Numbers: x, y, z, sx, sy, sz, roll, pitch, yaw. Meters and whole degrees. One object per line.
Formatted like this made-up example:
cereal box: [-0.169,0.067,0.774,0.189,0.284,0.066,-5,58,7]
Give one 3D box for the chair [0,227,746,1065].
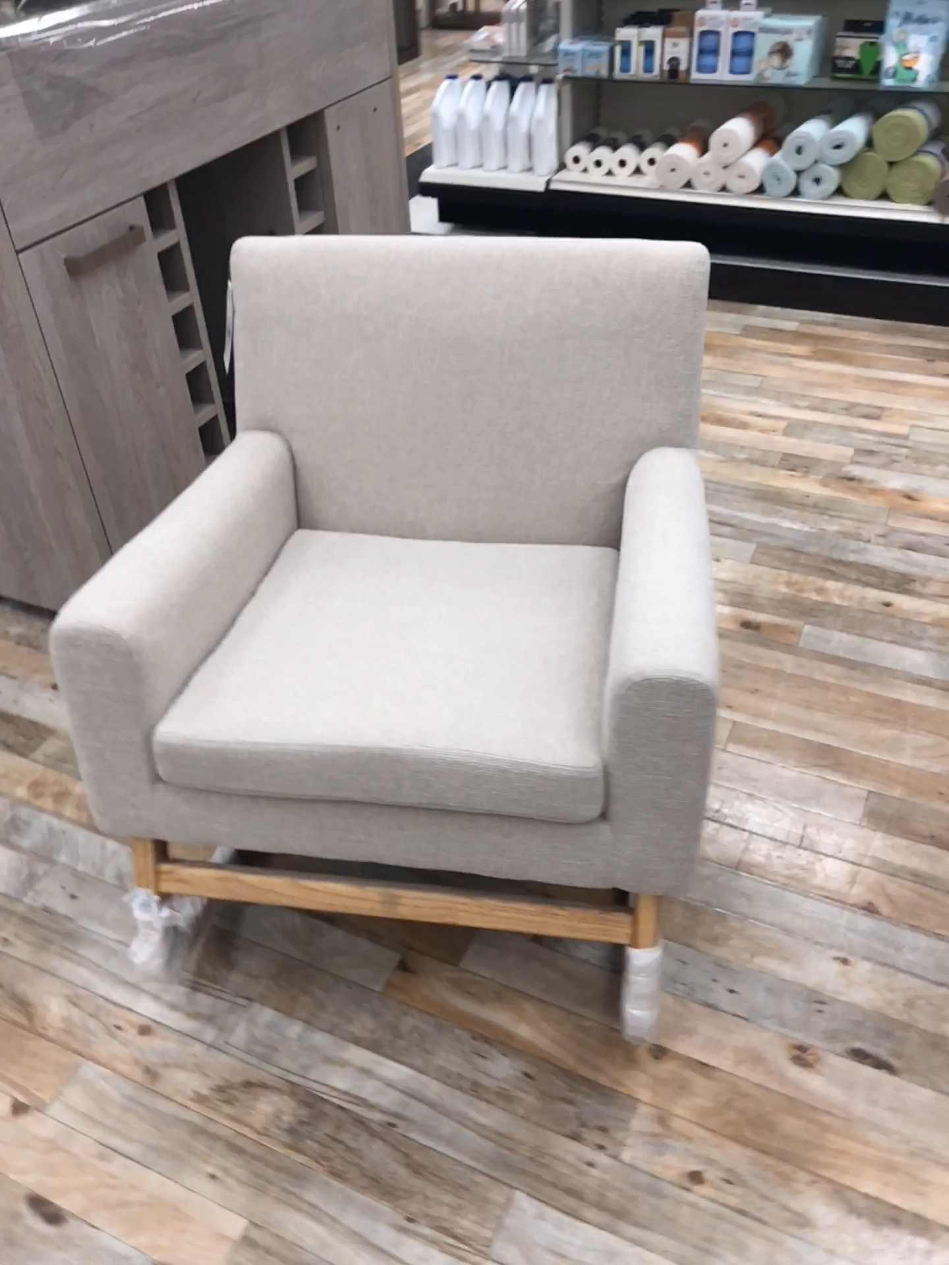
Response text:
chair: [-0.058,-0.034,1.341,0.700,0.707,0.743,5,39,10]
